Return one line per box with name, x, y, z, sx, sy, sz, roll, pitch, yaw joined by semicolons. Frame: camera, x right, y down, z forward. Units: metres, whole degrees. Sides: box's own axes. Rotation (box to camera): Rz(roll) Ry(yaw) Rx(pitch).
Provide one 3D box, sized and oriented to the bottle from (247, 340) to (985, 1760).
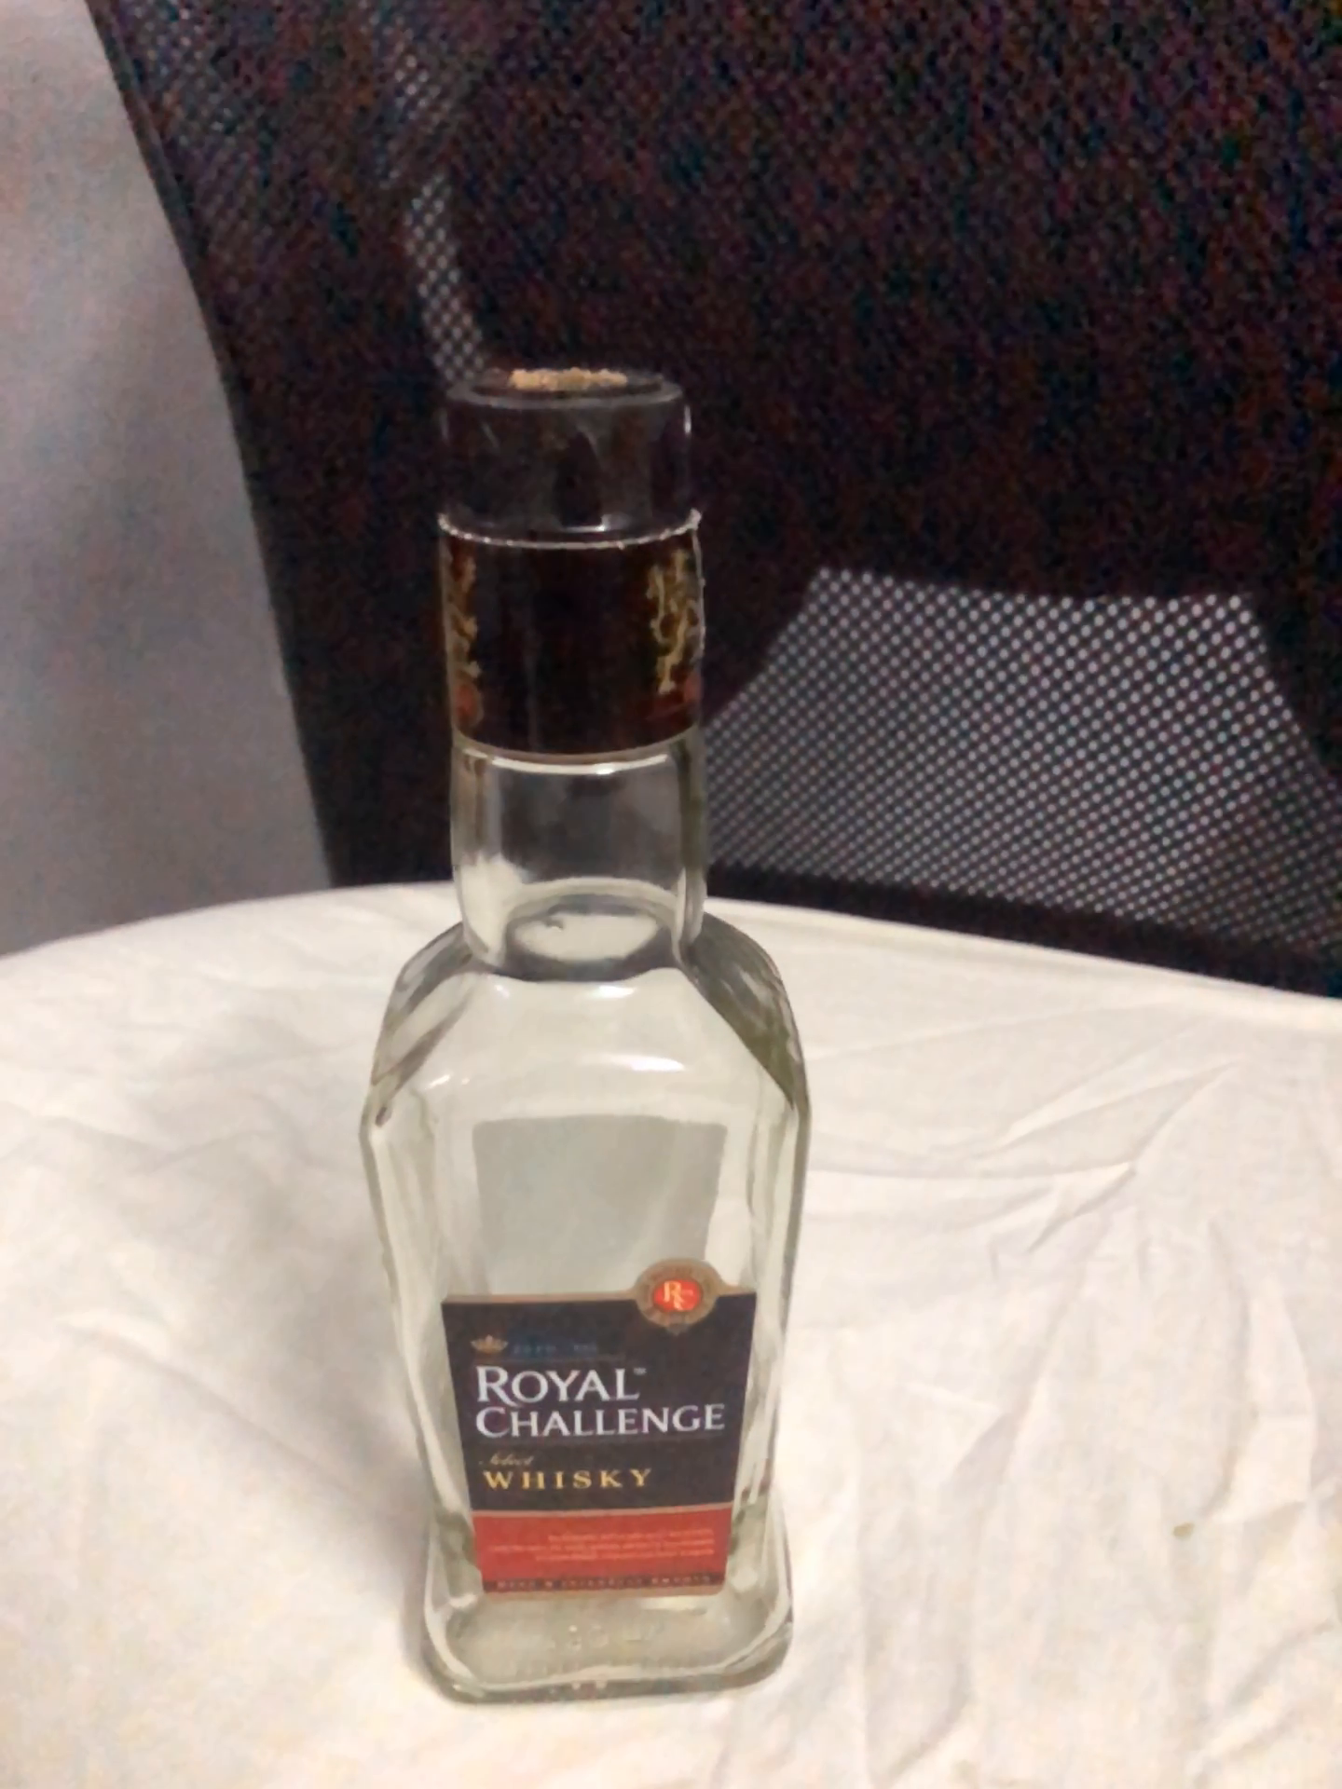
bottle;-0.006;0.031;0.209;0.070;0.199;0.050;-1;27;-3
